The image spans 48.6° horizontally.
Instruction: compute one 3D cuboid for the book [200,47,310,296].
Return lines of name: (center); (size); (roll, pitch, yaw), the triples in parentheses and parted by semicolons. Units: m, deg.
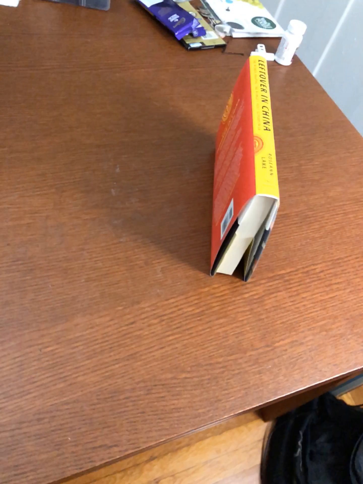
book: (0.081, -0.092, 0.518); (0.060, 0.179, 0.261); (11, 54, -7)
